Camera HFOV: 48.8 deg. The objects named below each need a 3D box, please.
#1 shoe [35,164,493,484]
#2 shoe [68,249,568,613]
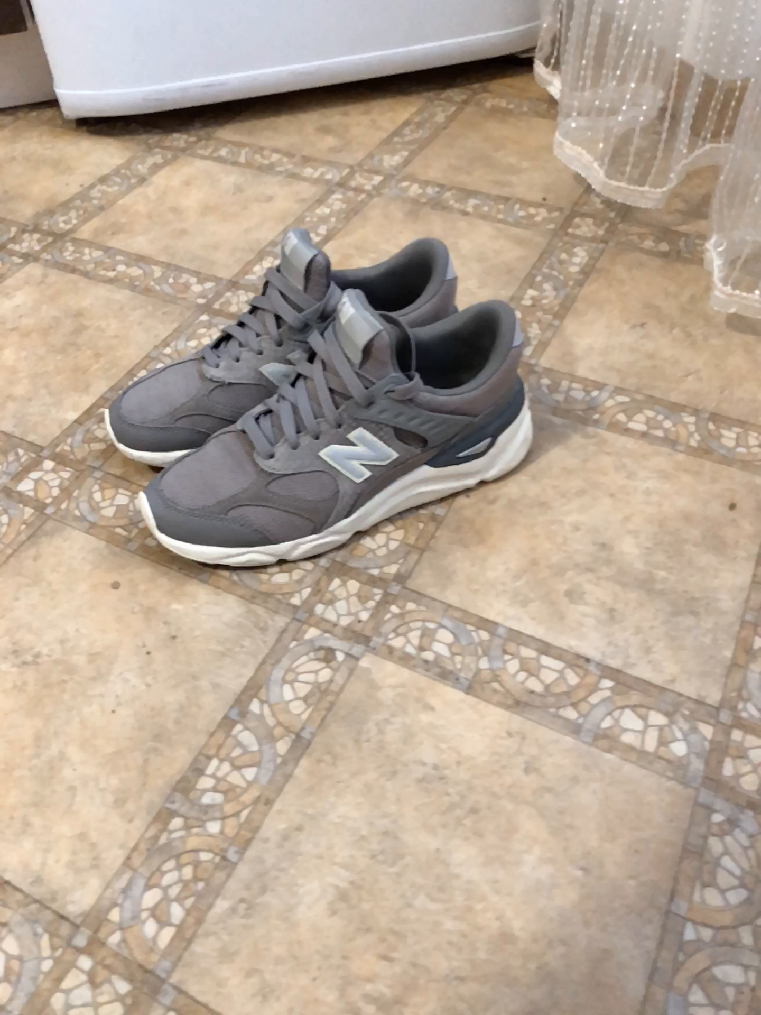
[{"bbox_3d":[-0.072,-0.128,0.568,0.270,0.119,0.101,-17,49,-13],"label":"shoe"},{"bbox_3d":[-0.033,-0.053,0.525,0.270,0.119,0.101,-19,49,-14],"label":"shoe"}]
